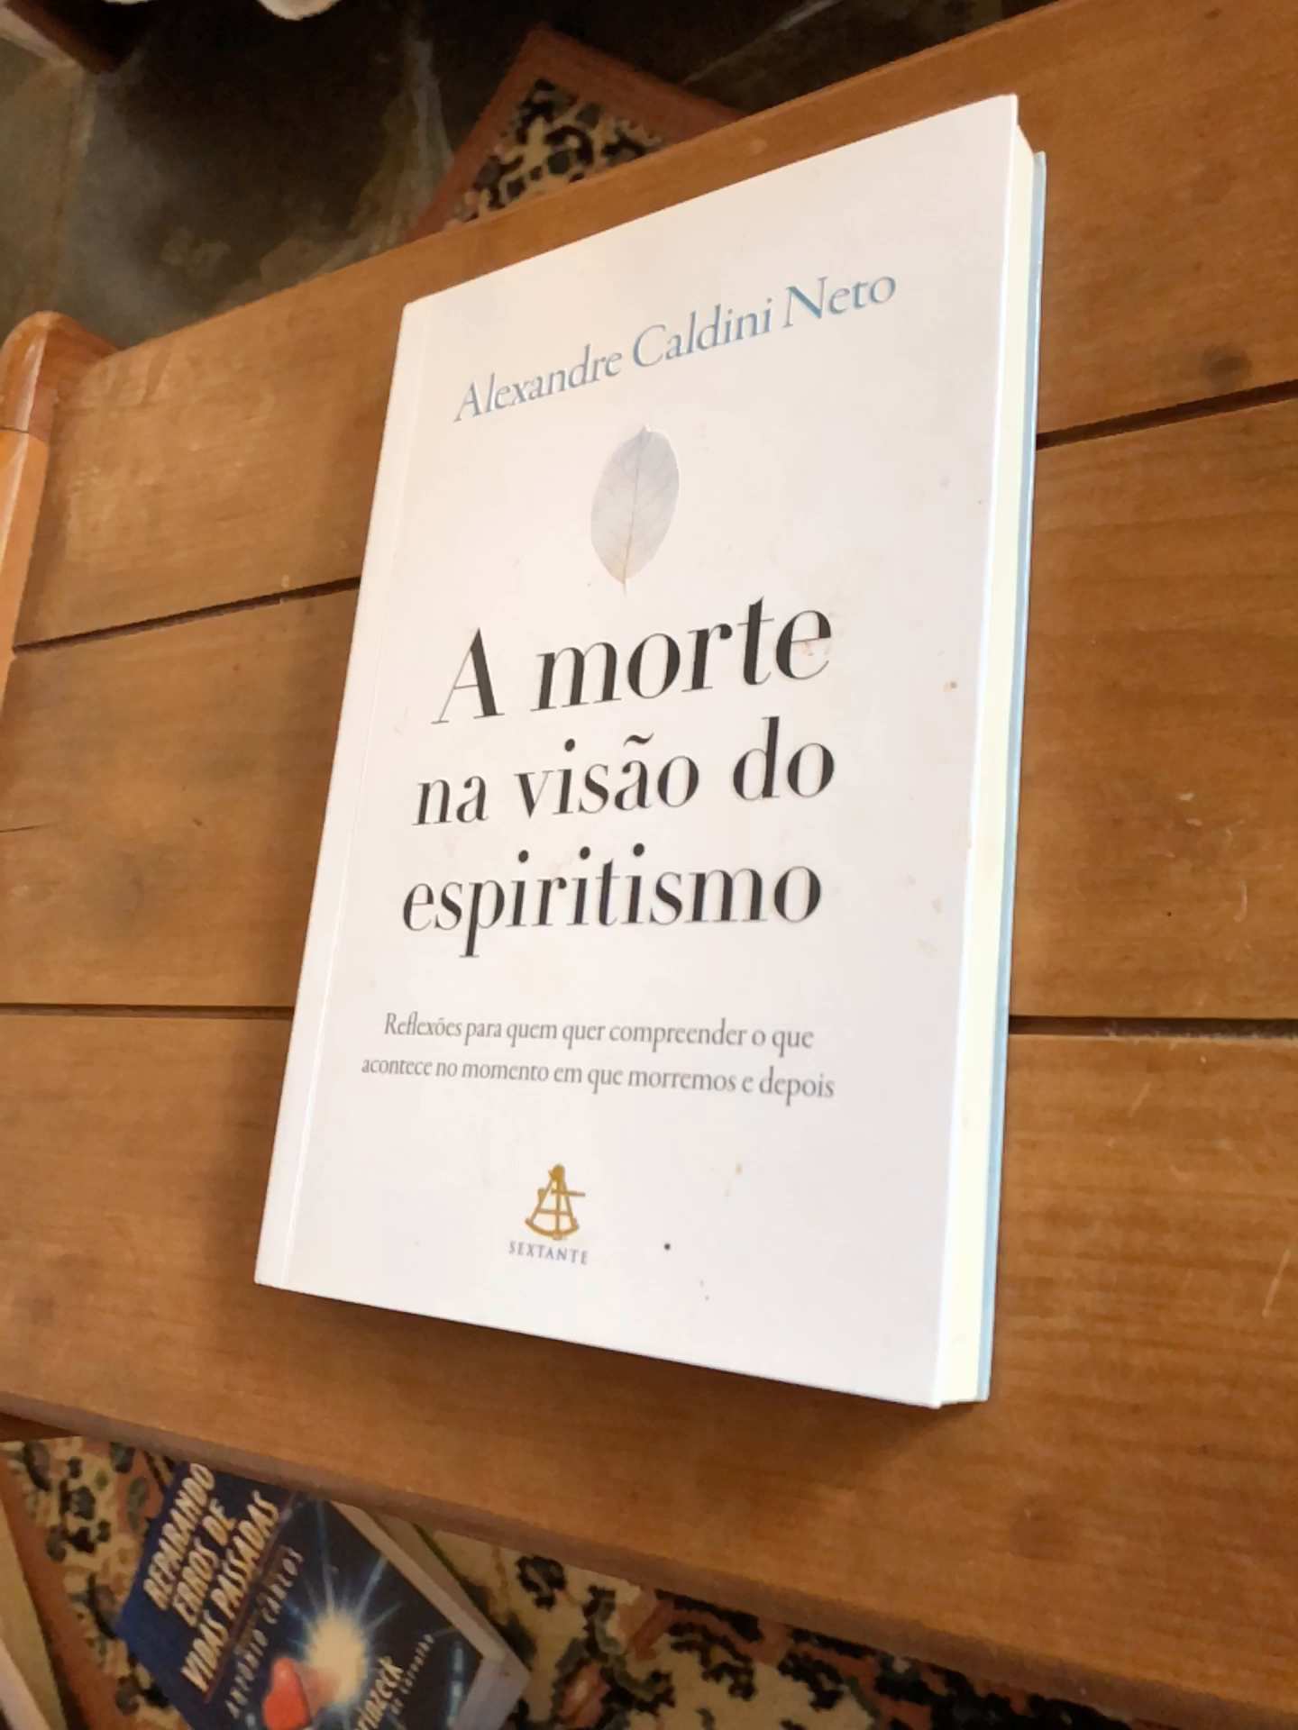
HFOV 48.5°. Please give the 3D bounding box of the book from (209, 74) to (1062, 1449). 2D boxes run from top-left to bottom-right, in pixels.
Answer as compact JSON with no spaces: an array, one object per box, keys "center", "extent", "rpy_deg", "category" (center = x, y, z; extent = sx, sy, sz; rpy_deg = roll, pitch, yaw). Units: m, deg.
[{"center":[-0.005,-0.020,0.242],"extent":[0.136,0.020,0.196],"rpy_deg":[-2,75,35],"category":"book"}]
